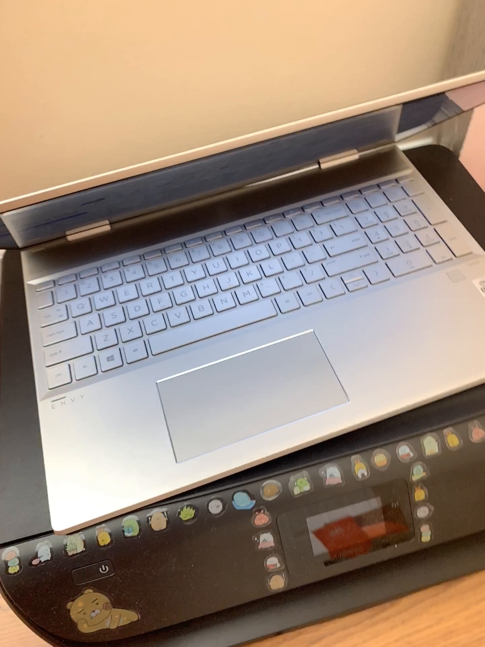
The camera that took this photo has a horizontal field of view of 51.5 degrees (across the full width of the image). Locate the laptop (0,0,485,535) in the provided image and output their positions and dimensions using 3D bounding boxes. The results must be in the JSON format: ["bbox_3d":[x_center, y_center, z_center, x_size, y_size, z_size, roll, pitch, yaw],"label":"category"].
[{"bbox_3d":[0.010,-0.068,0.309,0.350,0.169,0.237,-18,56,-7],"label":"laptop"}]
